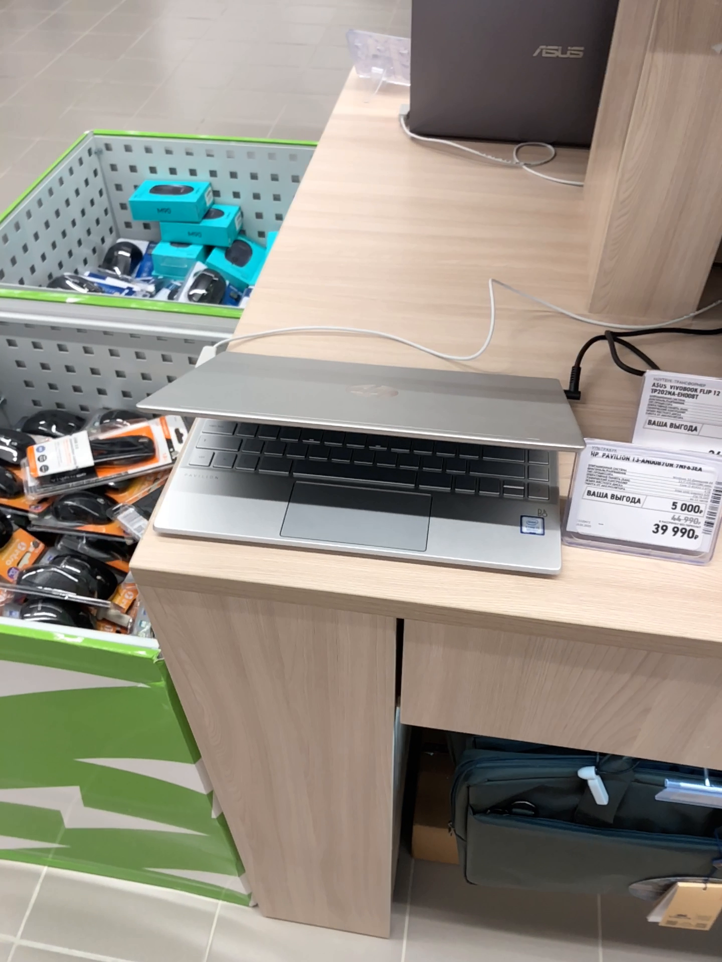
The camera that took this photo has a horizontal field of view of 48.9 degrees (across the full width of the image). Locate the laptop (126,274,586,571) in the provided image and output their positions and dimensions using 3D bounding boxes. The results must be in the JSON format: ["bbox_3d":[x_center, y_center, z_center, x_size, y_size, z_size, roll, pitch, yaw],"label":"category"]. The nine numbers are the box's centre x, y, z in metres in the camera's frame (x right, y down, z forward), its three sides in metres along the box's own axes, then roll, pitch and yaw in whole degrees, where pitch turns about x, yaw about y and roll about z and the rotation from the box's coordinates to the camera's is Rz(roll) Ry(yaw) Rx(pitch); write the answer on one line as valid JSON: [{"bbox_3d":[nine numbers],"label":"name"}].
[{"bbox_3d":[0.007,-0.059,0.650,0.322,0.095,0.207,6,48,7],"label":"laptop"}]
